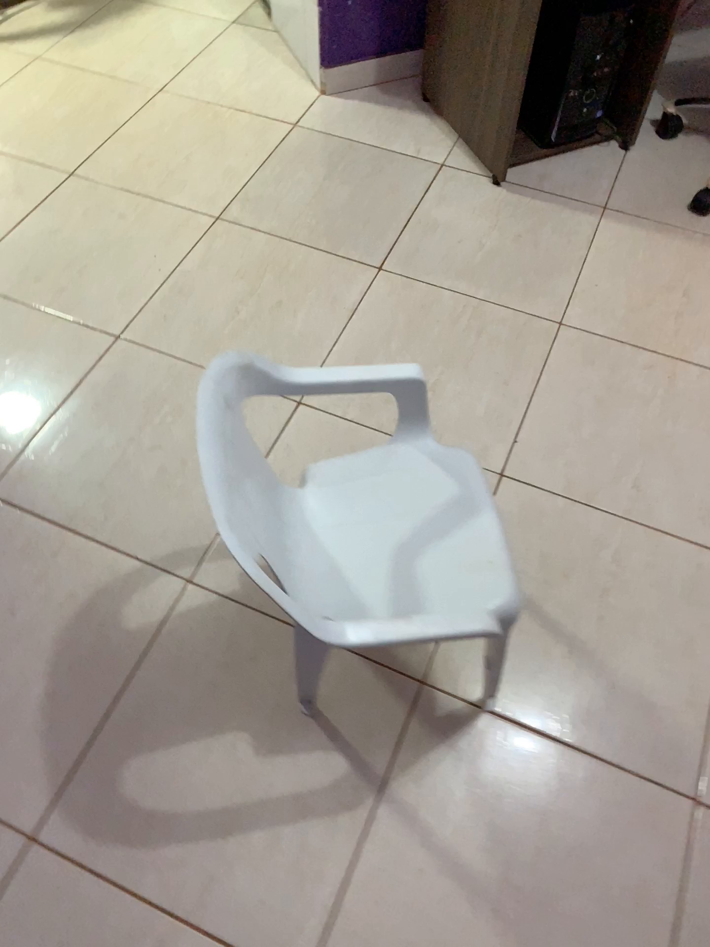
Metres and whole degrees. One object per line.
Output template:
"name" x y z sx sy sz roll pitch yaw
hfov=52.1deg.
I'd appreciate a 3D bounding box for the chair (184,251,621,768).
"chair" 0.018 0.092 0.977 0.360 0.596 0.402 -8 57 -6
